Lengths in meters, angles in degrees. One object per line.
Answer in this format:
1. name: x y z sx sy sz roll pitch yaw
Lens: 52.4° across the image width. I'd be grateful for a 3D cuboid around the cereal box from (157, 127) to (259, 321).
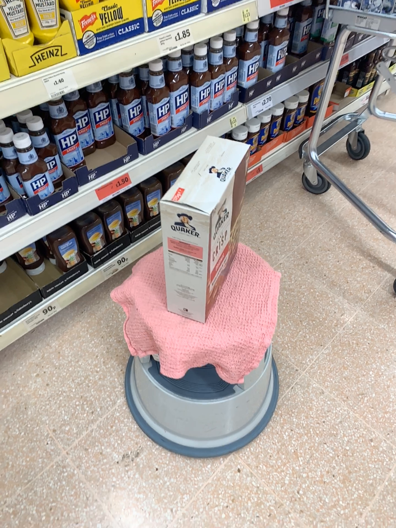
1. cereal box: 0.017 -0.063 0.707 0.090 0.268 0.191 19 51 13
